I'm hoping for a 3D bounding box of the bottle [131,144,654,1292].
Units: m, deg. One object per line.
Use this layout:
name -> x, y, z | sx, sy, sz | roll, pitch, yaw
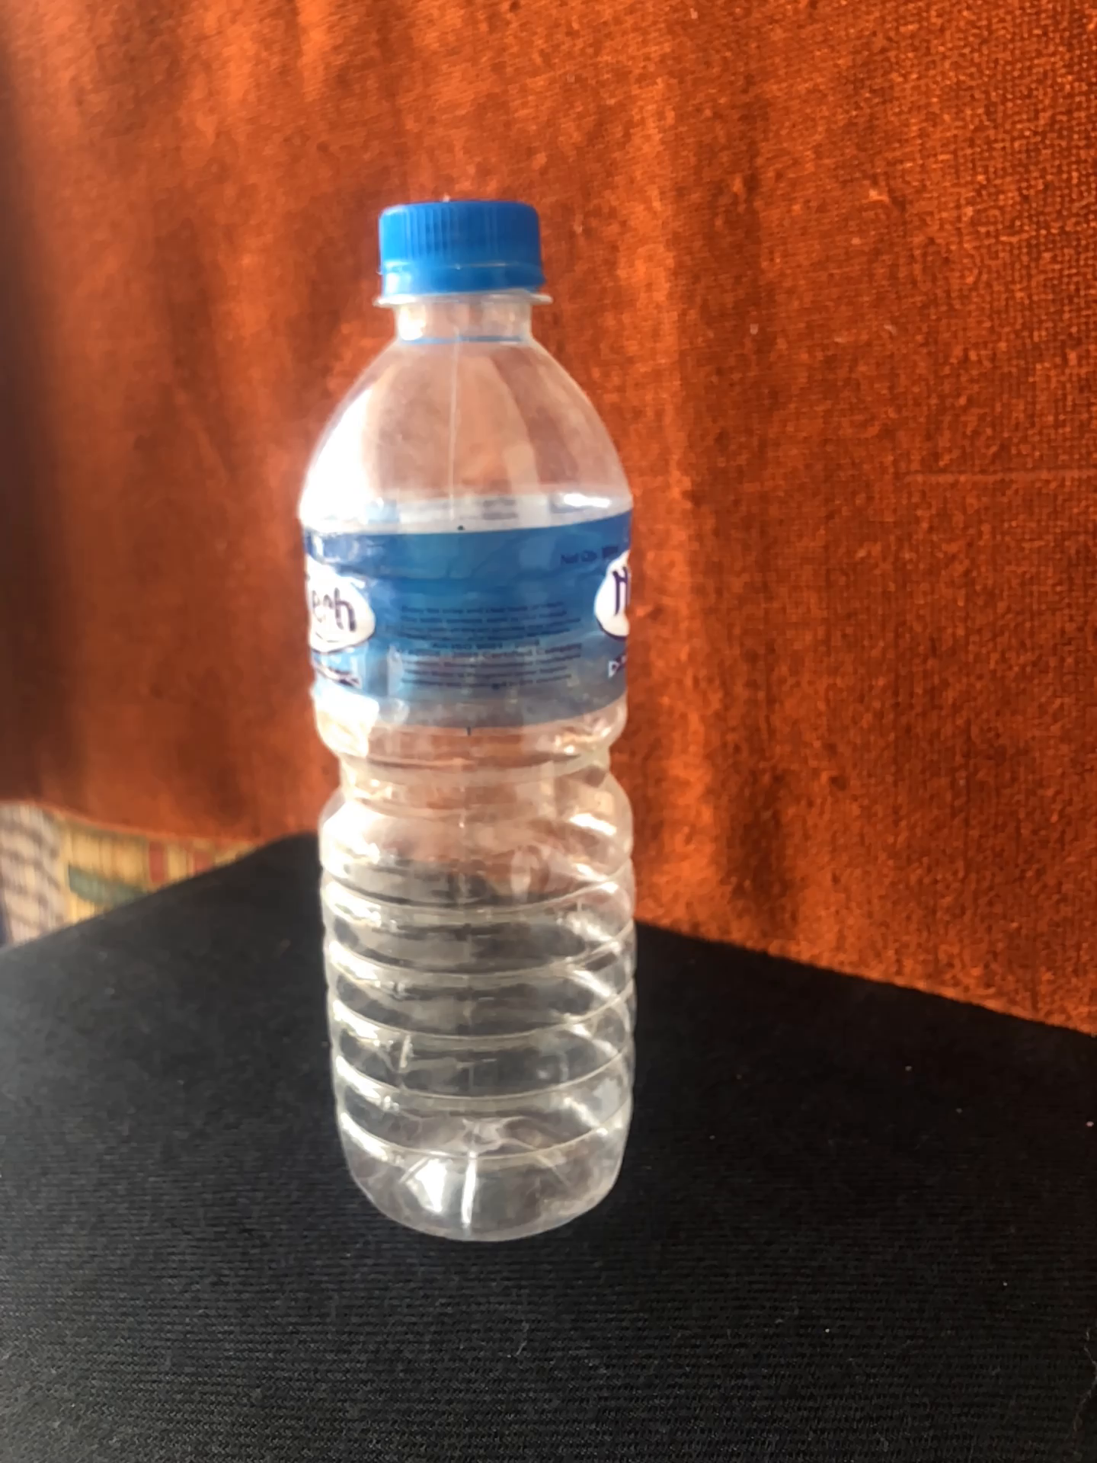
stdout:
bottle -> -0.027, -0.003, 0.238 | 0.070, 0.189, 0.070 | -3, 16, 1
